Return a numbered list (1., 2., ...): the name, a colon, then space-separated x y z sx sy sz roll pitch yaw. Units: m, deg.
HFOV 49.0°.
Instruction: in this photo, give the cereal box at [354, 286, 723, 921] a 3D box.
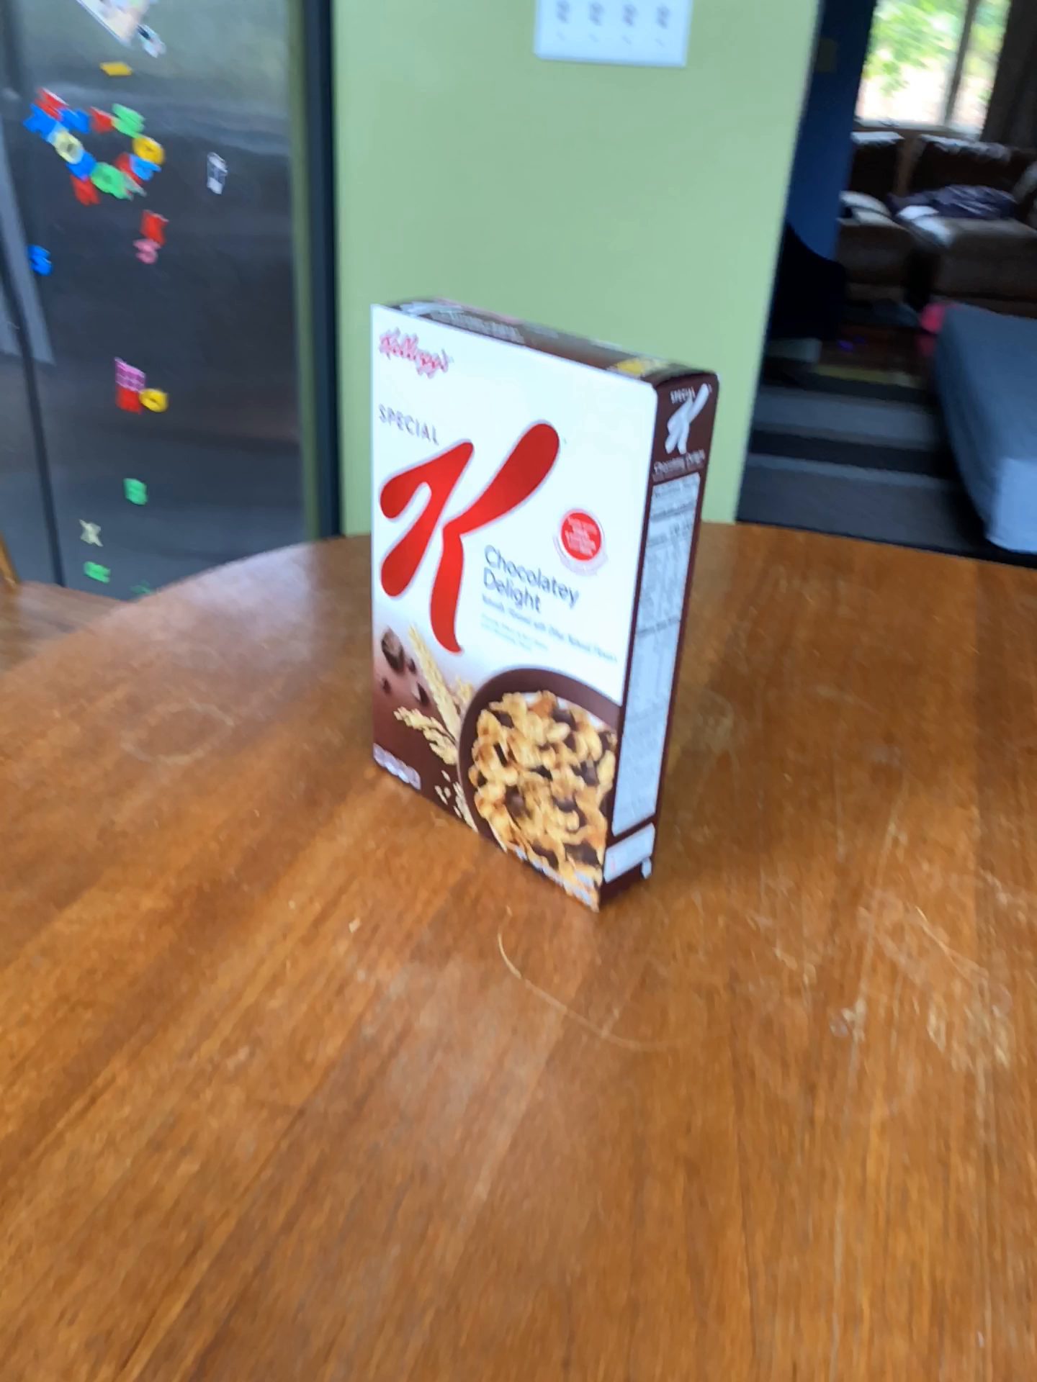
1. cereal box: -0.005 -0.050 0.614 0.050 0.288 0.200 -23 38 -39
